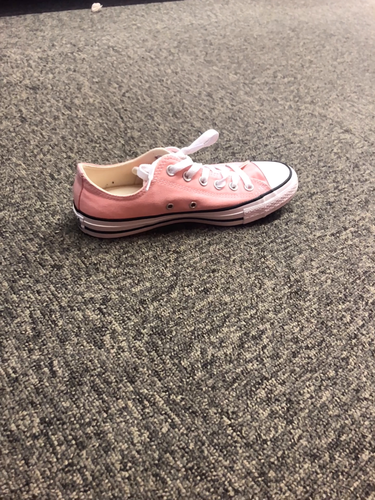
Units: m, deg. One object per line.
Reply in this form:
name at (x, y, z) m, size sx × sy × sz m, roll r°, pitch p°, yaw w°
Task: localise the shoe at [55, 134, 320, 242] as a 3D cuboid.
shoe at (0.001, -0.080, 0.477) m, size 0.281 × 0.060 × 0.100 m, roll -7°, pitch 45°, yaw -21°
